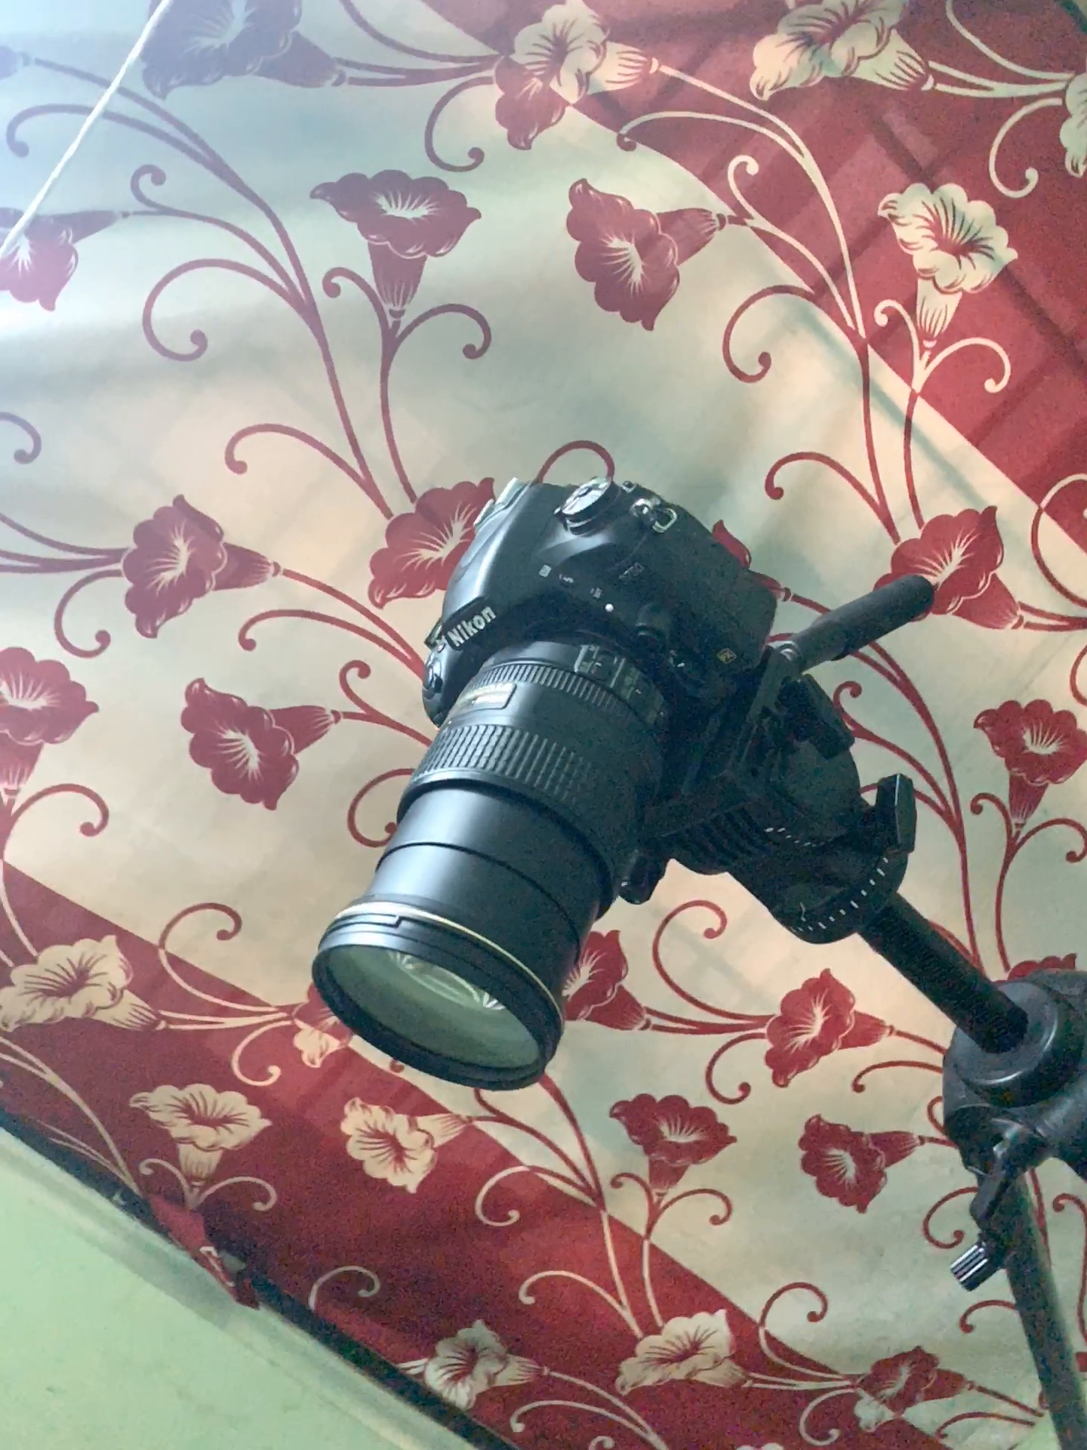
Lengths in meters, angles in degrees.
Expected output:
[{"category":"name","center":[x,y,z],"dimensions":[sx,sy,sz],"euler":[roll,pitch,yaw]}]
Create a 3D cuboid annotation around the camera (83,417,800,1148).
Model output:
[{"category":"camera","center":[-0.032,0.026,0.392],"dimensions":[0.172,0.122,0.170],"euler":[-34,20,44]}]
